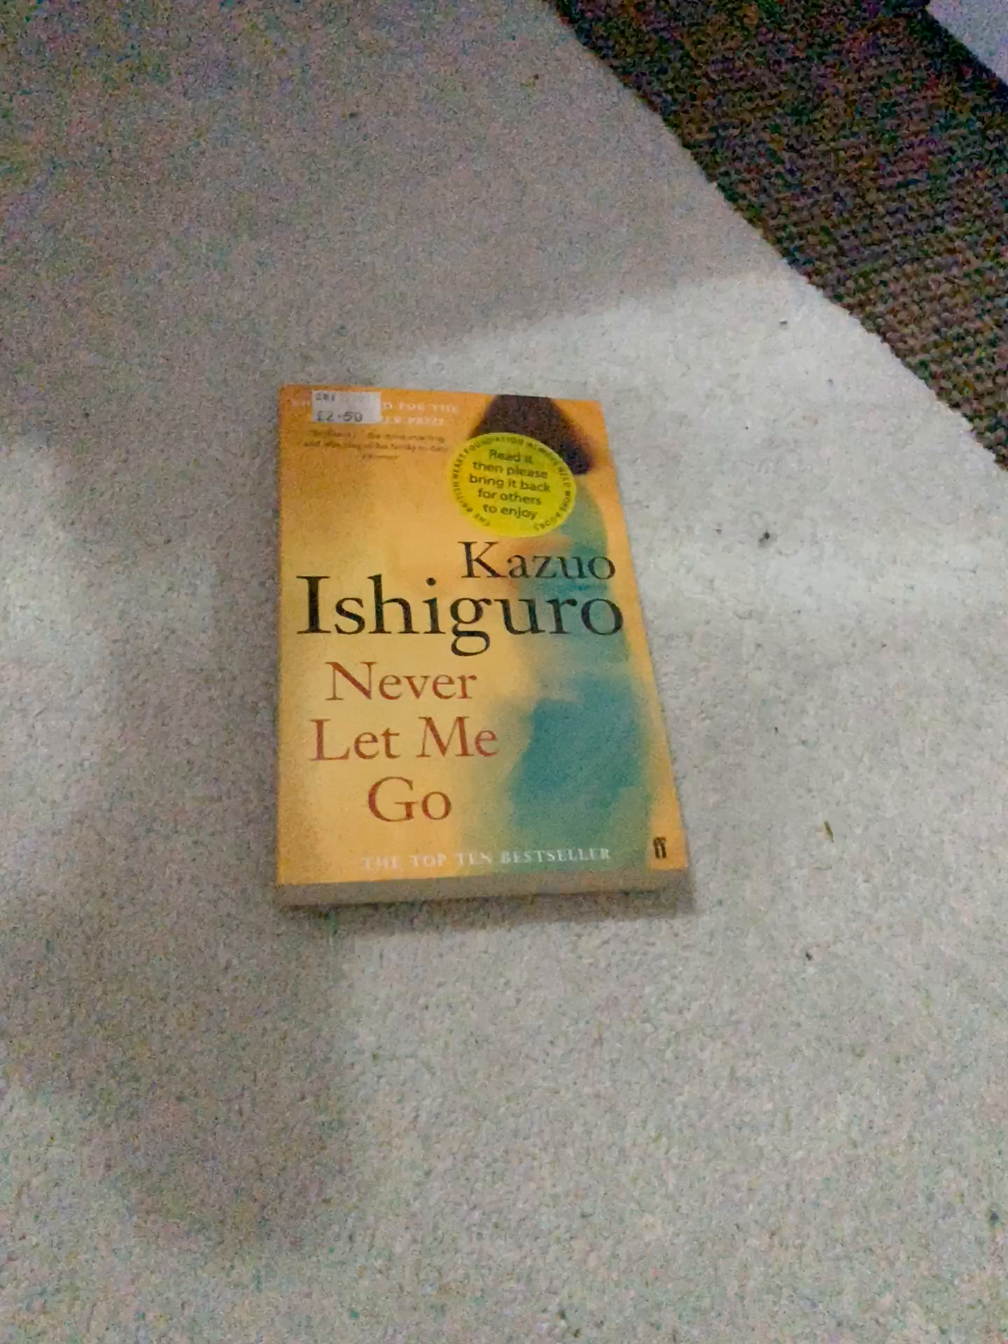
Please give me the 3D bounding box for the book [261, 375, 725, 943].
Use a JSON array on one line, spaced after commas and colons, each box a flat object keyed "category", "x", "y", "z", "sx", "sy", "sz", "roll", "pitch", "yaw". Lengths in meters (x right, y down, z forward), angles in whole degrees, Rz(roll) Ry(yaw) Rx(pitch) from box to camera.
[{"category": "book", "x": -0.012, "y": -0.016, "z": 0.366, "sx": 0.140, "sy": 0.020, "sz": 0.211, "roll": 0, "pitch": 61, "yaw": -11}]
